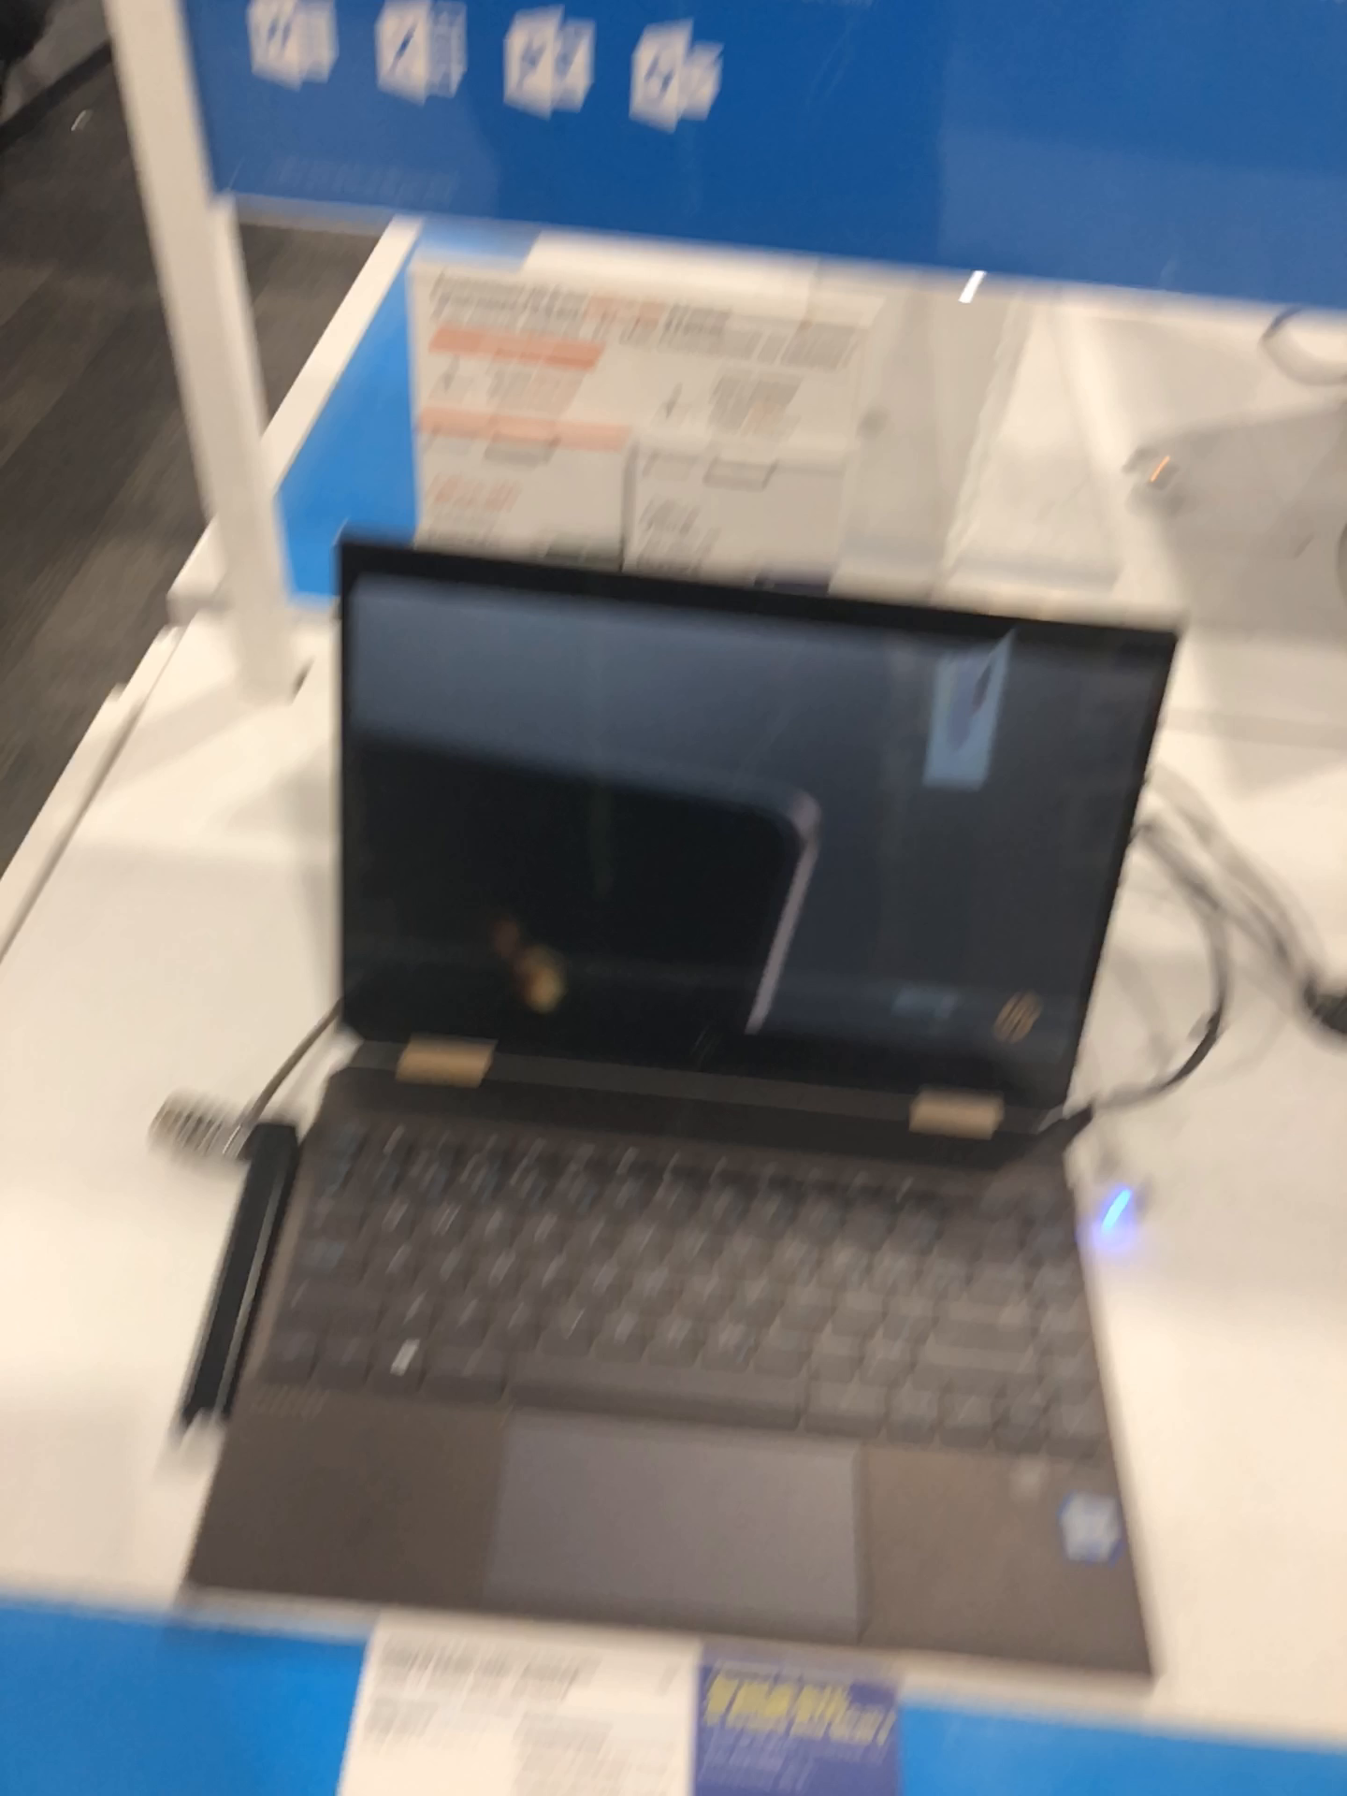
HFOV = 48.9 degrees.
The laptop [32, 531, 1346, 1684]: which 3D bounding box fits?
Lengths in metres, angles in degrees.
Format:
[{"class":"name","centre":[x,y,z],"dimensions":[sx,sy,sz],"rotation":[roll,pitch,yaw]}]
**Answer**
[{"class":"laptop","centre":[0.011,0.057,0.491],"dimensions":[0.297,0.198,0.285],"rotation":[6,44,-1]}]
